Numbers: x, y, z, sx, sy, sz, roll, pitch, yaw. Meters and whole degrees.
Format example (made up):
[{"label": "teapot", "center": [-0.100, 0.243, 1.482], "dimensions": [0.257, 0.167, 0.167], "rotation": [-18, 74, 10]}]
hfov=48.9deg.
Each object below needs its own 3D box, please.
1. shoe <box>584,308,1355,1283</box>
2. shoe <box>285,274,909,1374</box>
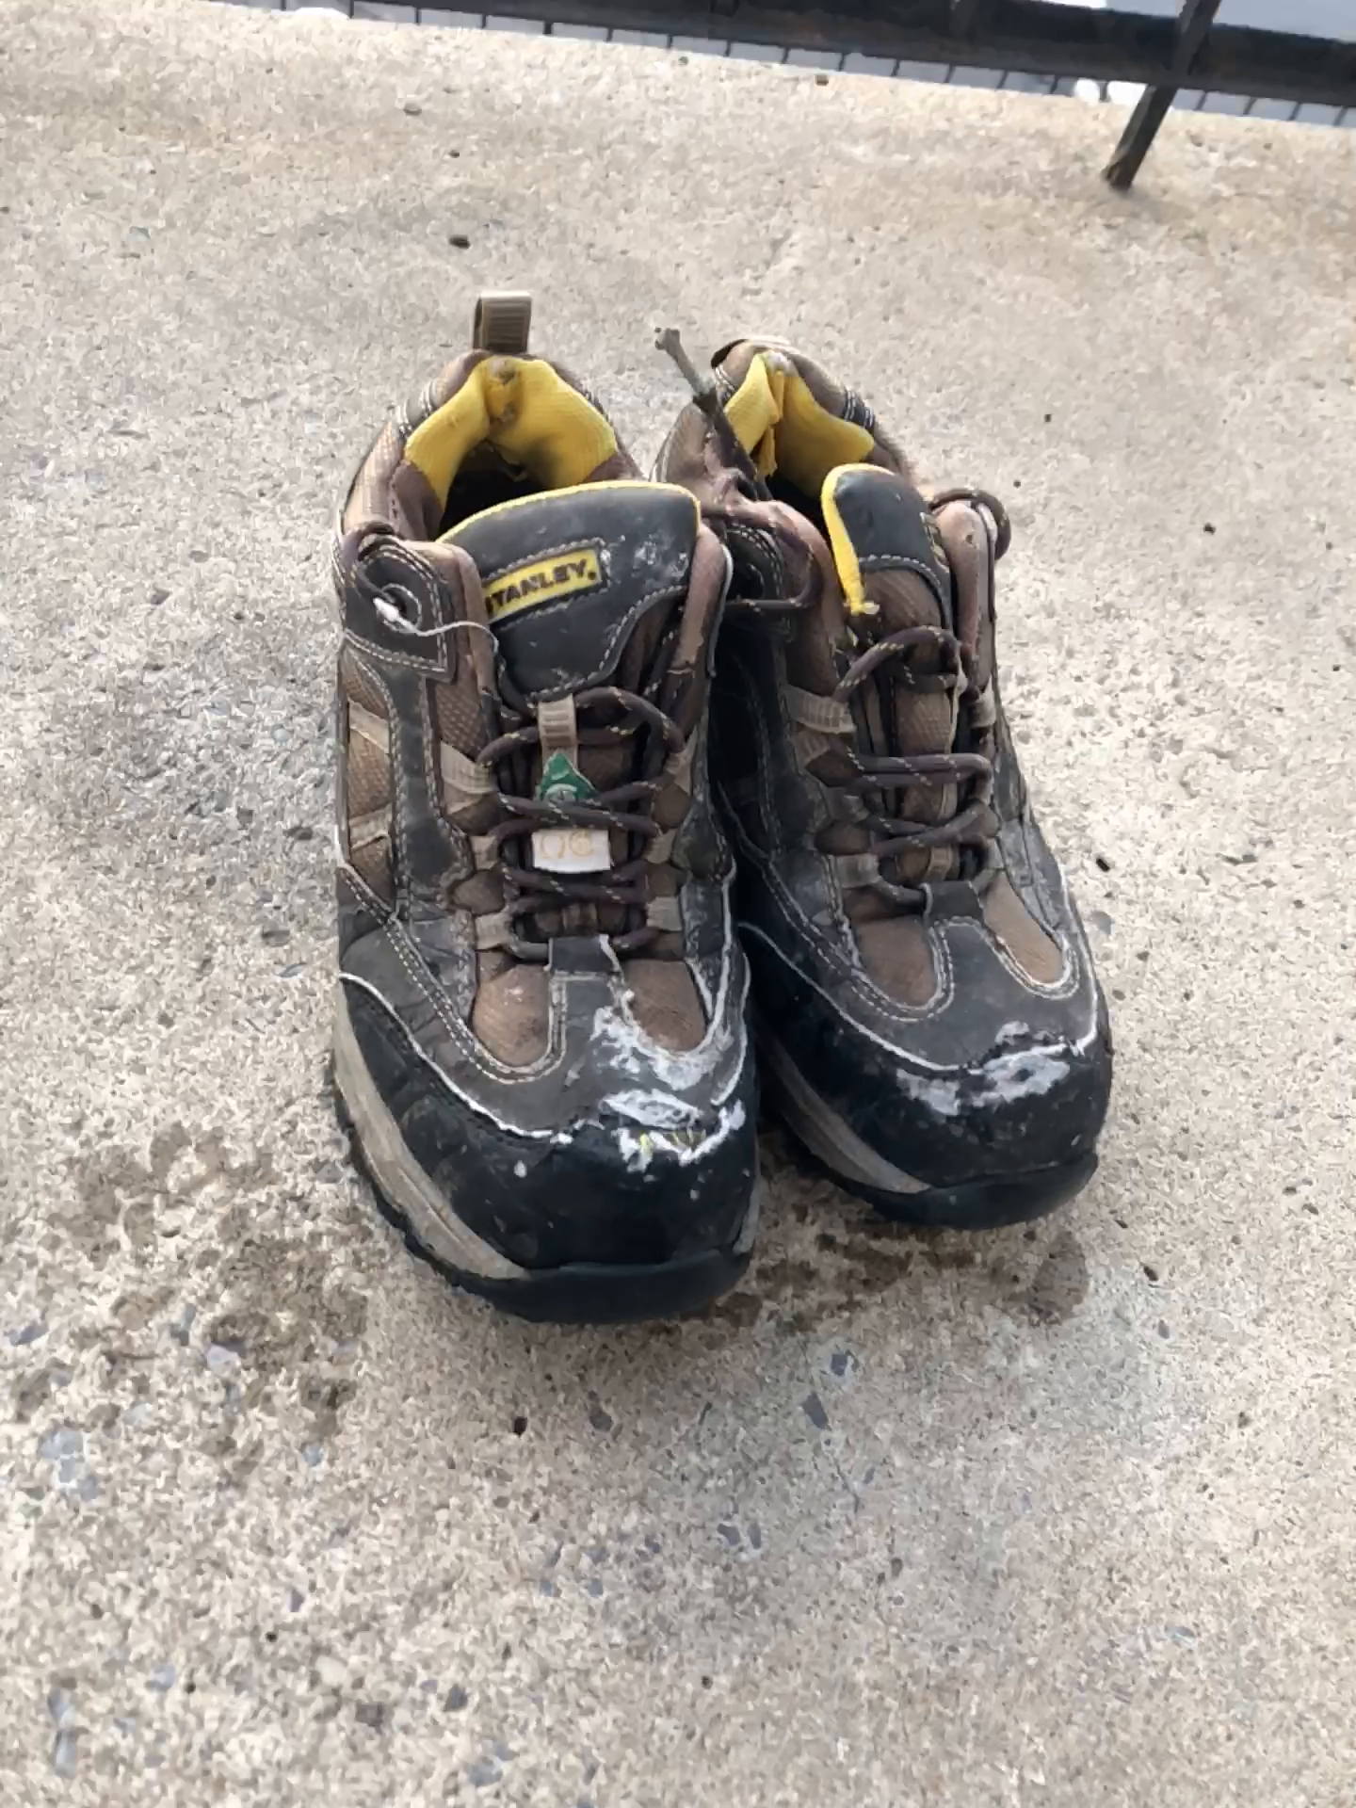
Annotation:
[{"label": "shoe", "center": [0.065, -0.034, 0.456], "dimensions": [0.120, 0.169, 0.231], "rotation": [-4, 57, -17]}, {"label": "shoe", "center": [-0.045, -0.027, 0.408], "dimensions": [0.100, 0.149, 0.251], "rotation": [-4, 57, -17]}]
